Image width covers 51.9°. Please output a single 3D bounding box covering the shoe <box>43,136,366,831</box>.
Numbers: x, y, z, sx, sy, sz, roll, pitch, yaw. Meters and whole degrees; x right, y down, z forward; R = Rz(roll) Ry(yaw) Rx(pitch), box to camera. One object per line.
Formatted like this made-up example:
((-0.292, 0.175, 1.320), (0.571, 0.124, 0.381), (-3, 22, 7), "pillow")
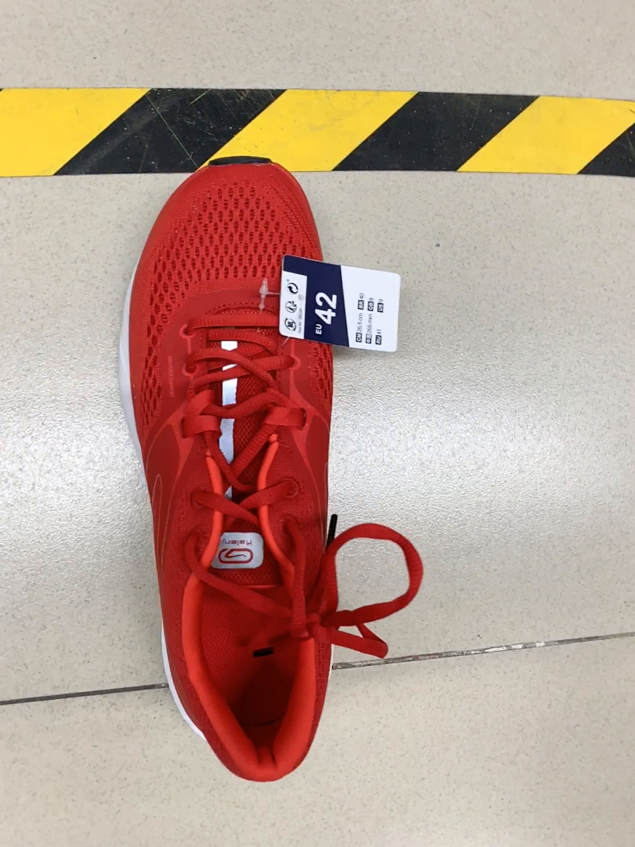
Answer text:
((-0.051, 0.022, 0.316), (0.120, 0.090, 0.280), (-3, 89, -8), "shoe")
